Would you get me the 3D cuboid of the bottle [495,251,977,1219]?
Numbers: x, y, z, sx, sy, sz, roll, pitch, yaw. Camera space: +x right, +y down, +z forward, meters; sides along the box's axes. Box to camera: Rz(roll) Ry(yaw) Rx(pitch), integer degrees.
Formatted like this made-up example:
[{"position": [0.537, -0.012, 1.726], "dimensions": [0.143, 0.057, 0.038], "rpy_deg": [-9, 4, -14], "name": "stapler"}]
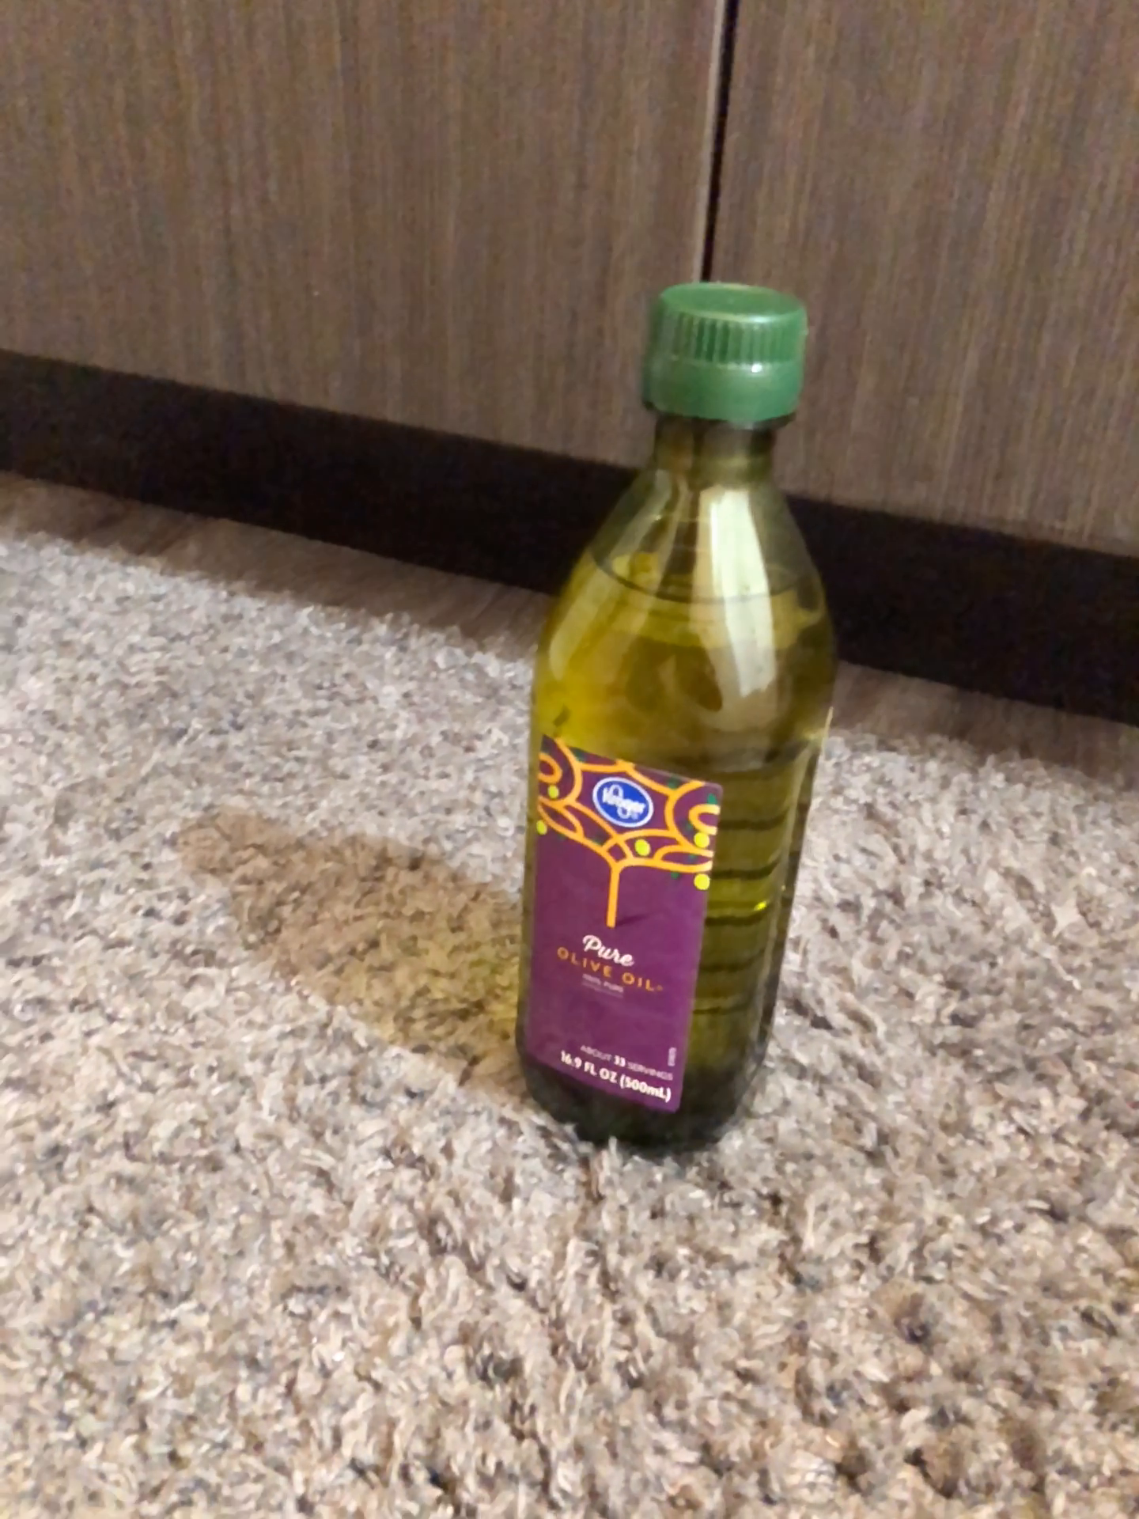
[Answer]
[{"position": [0.029, 0.002, 0.294], "dimensions": [0.070, 0.209, 0.060], "rpy_deg": [20, 37, 25], "name": "bottle"}]
